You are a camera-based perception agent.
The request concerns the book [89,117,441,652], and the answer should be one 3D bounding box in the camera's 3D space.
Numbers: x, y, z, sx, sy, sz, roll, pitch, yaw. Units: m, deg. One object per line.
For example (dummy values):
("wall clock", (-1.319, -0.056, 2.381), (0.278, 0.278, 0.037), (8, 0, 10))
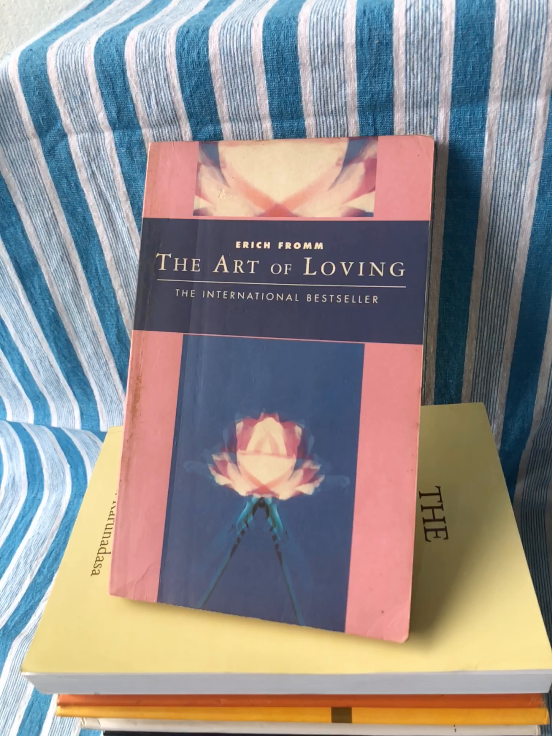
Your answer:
("book", (-0.005, 0.000, 0.244), (0.129, 0.015, 0.193), (2, 85, 16))
